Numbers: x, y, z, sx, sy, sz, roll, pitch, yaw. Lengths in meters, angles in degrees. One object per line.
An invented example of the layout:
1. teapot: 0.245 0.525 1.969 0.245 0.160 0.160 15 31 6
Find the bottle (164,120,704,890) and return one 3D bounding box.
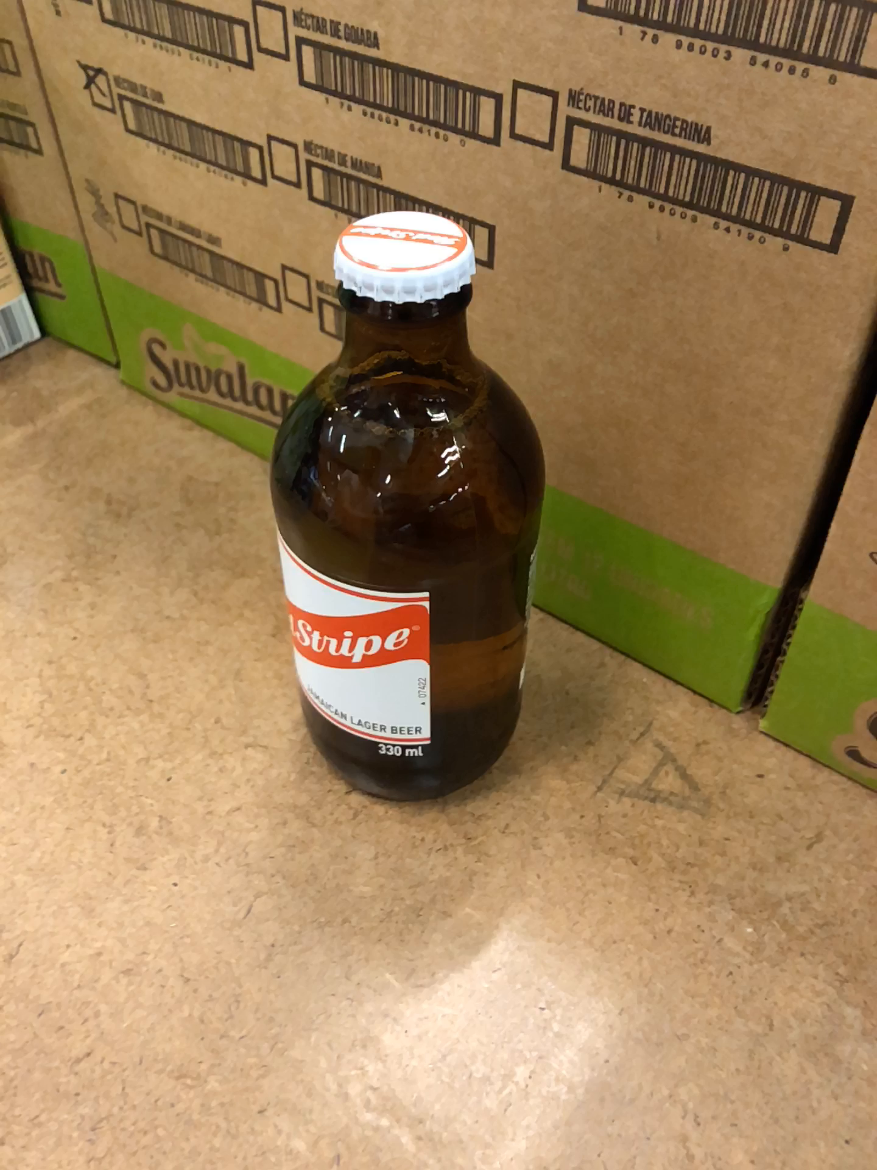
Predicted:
1. bottle: -0.004 -0.013 0.243 0.070 0.159 0.080 -26 50 -25
